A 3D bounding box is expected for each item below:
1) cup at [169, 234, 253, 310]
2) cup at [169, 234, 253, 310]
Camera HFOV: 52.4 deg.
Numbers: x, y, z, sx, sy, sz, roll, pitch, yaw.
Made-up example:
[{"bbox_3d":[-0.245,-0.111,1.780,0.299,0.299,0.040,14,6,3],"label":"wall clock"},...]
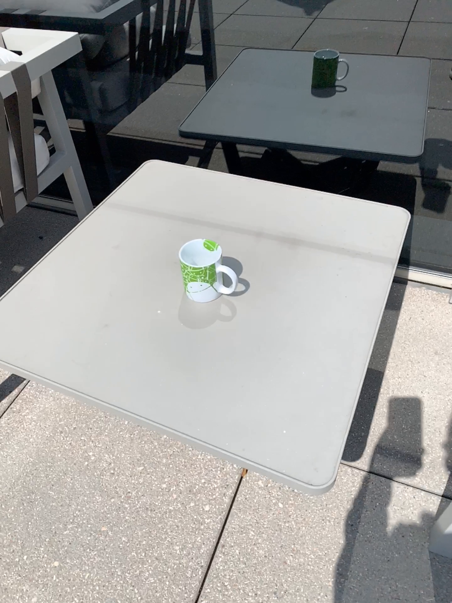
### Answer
[{"bbox_3d":[-0.024,-0.056,0.853,0.130,0.090,0.080,11,49,15],"label":"cup"},{"bbox_3d":[-0.024,-0.056,0.853,0.130,0.090,0.080,11,49,15],"label":"cup"}]
